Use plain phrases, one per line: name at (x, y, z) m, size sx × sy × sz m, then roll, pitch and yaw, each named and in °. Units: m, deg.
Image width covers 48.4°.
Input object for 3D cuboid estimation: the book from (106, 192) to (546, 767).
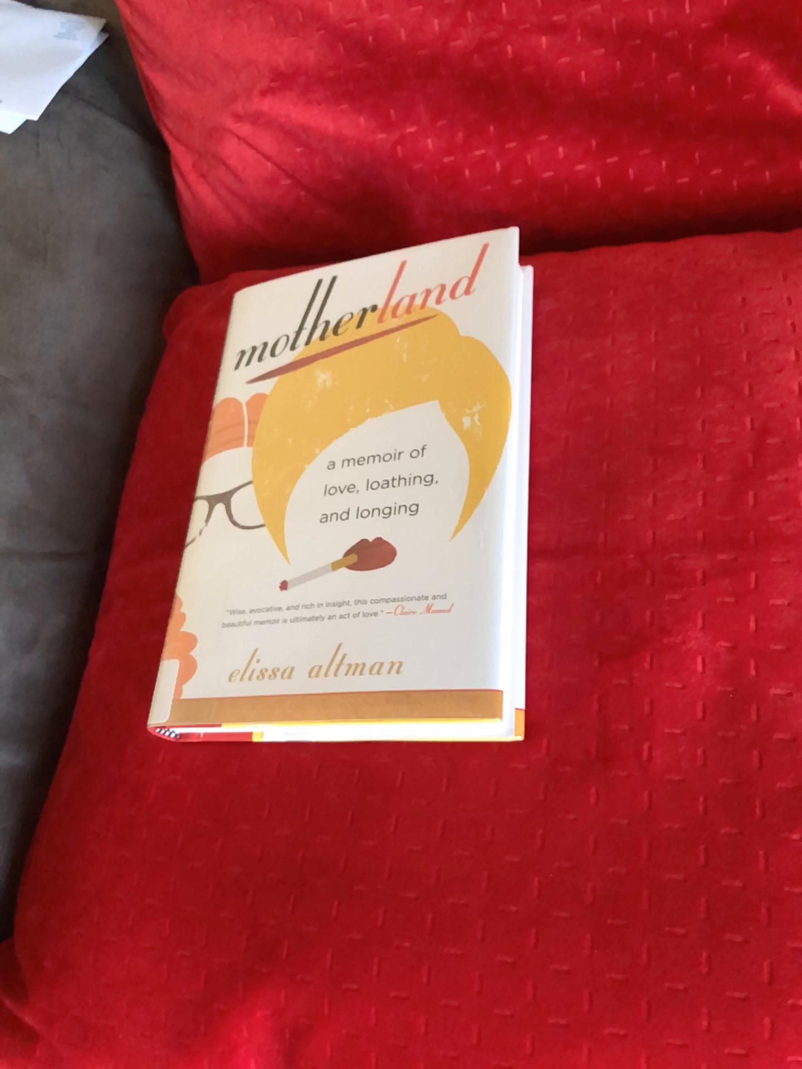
book at (-0.019, -0.023, 0.339) m, size 0.140 × 0.040 × 0.210 m, roll -5°, pitch 63°, yaw 20°
